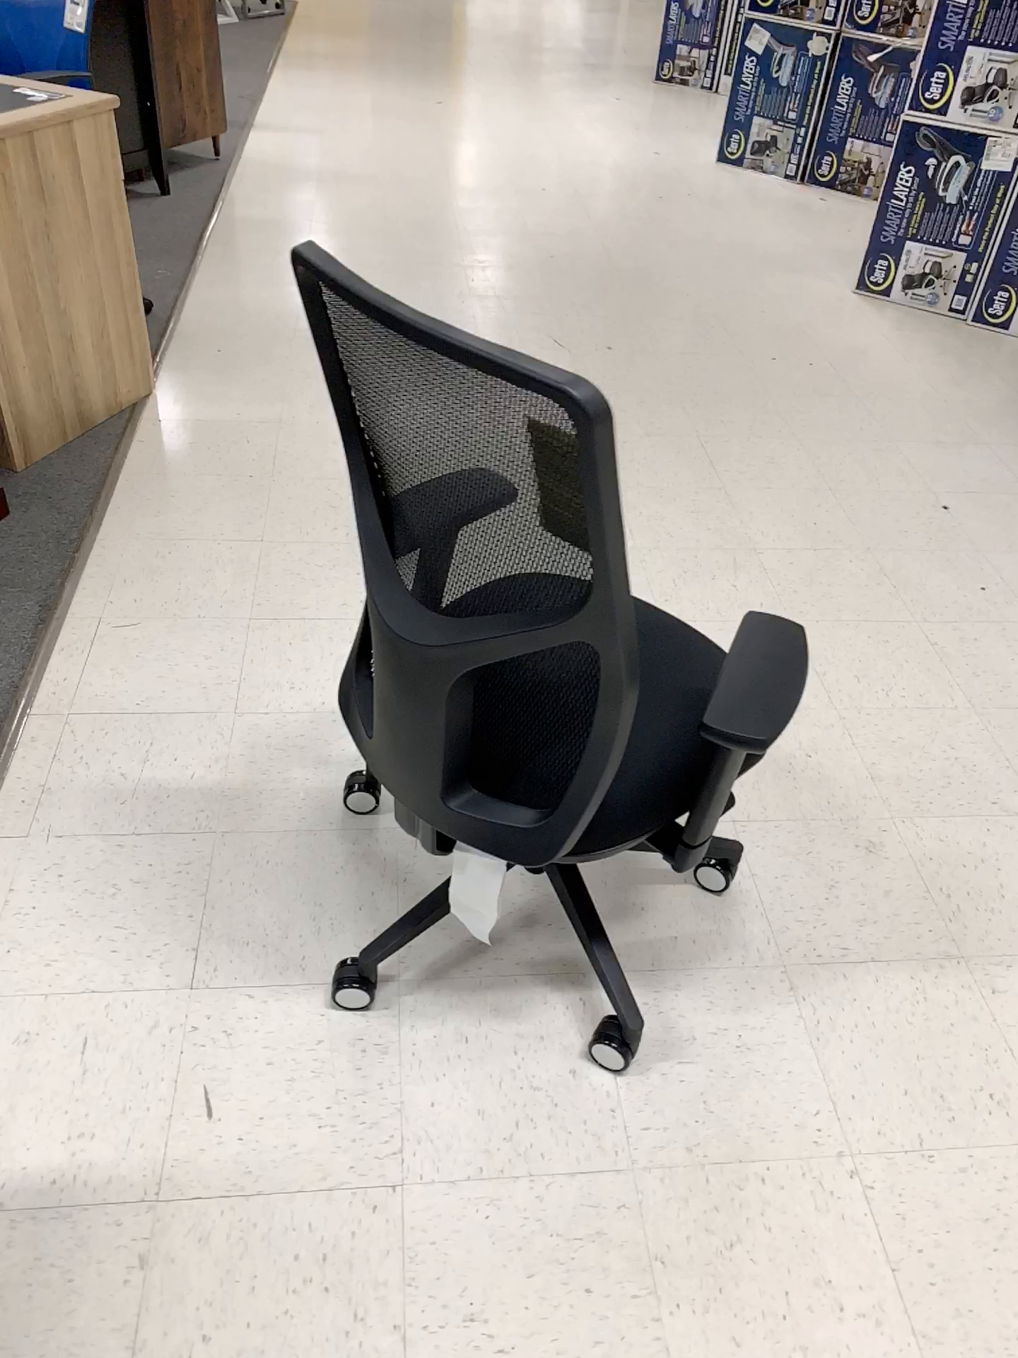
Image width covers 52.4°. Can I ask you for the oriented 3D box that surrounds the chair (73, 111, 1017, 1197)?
[{"bbox_3d":[0.050,-0.072,1.346,0.702,0.995,0.732,33,47,29],"label":"chair"}]
